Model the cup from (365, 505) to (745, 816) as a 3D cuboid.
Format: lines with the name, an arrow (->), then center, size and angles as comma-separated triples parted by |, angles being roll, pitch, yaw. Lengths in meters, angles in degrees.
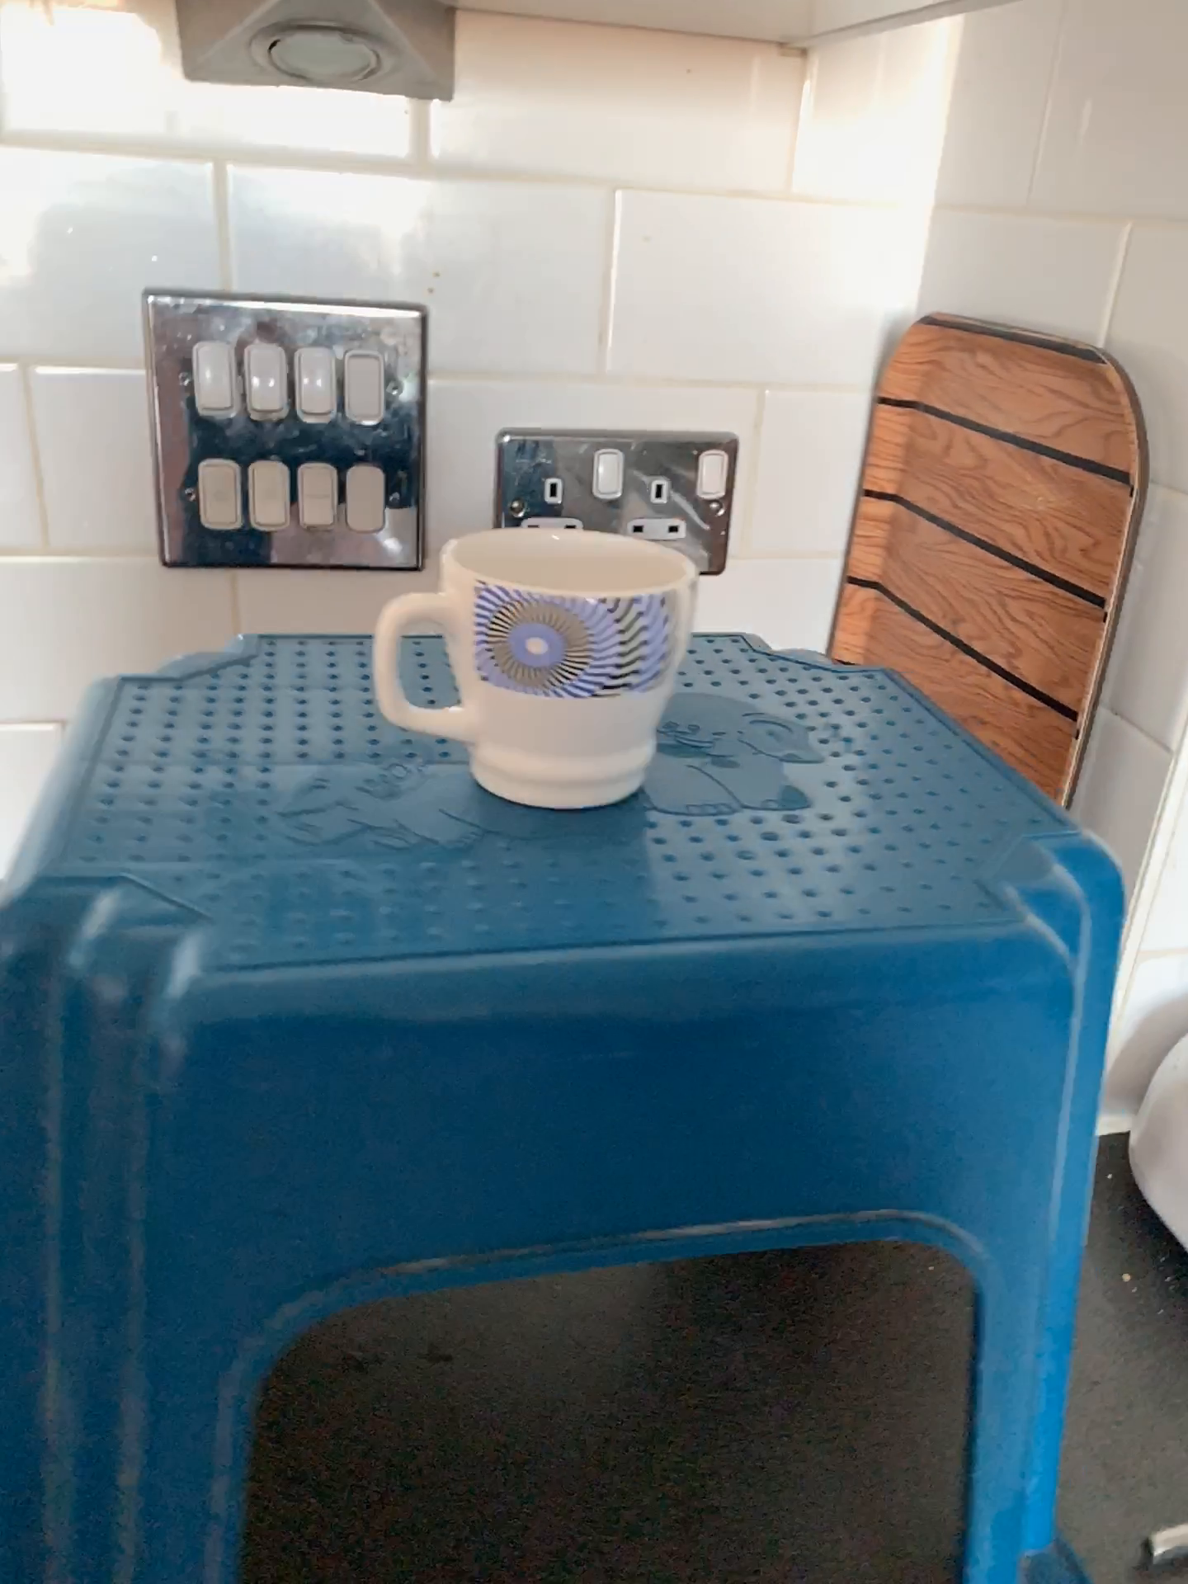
cup -> -0.016, -0.037, 0.318 | 0.085, 0.055, 0.079 | 4, 26, -2
